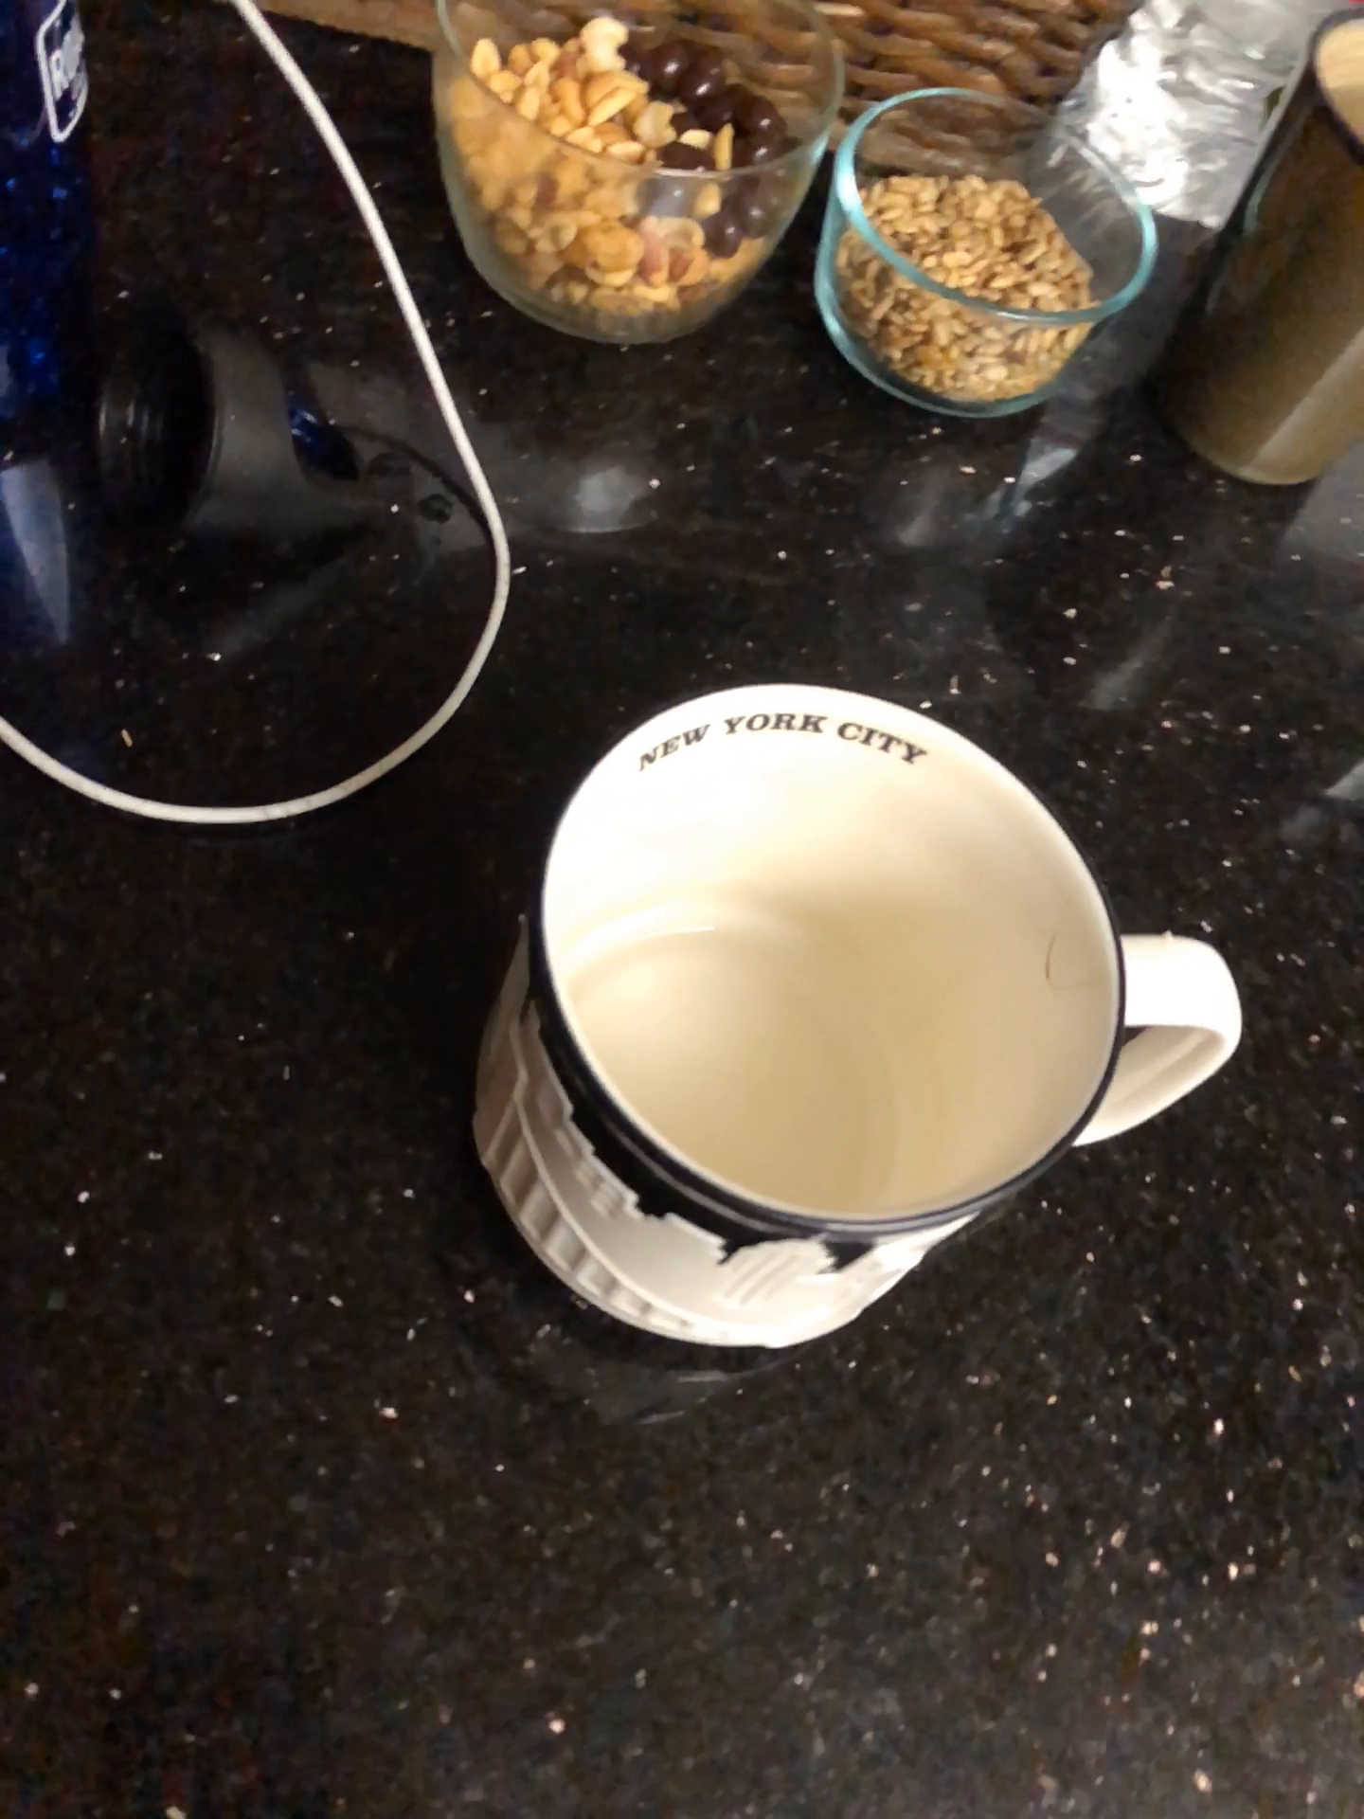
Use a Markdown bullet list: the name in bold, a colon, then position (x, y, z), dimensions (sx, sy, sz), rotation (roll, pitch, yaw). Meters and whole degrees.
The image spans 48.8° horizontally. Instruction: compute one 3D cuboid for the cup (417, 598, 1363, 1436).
- **cup**: position (0.034, 0.028, 0.296), dimensions (0.150, 0.090, 0.120), rotation (9, 61, -10)
